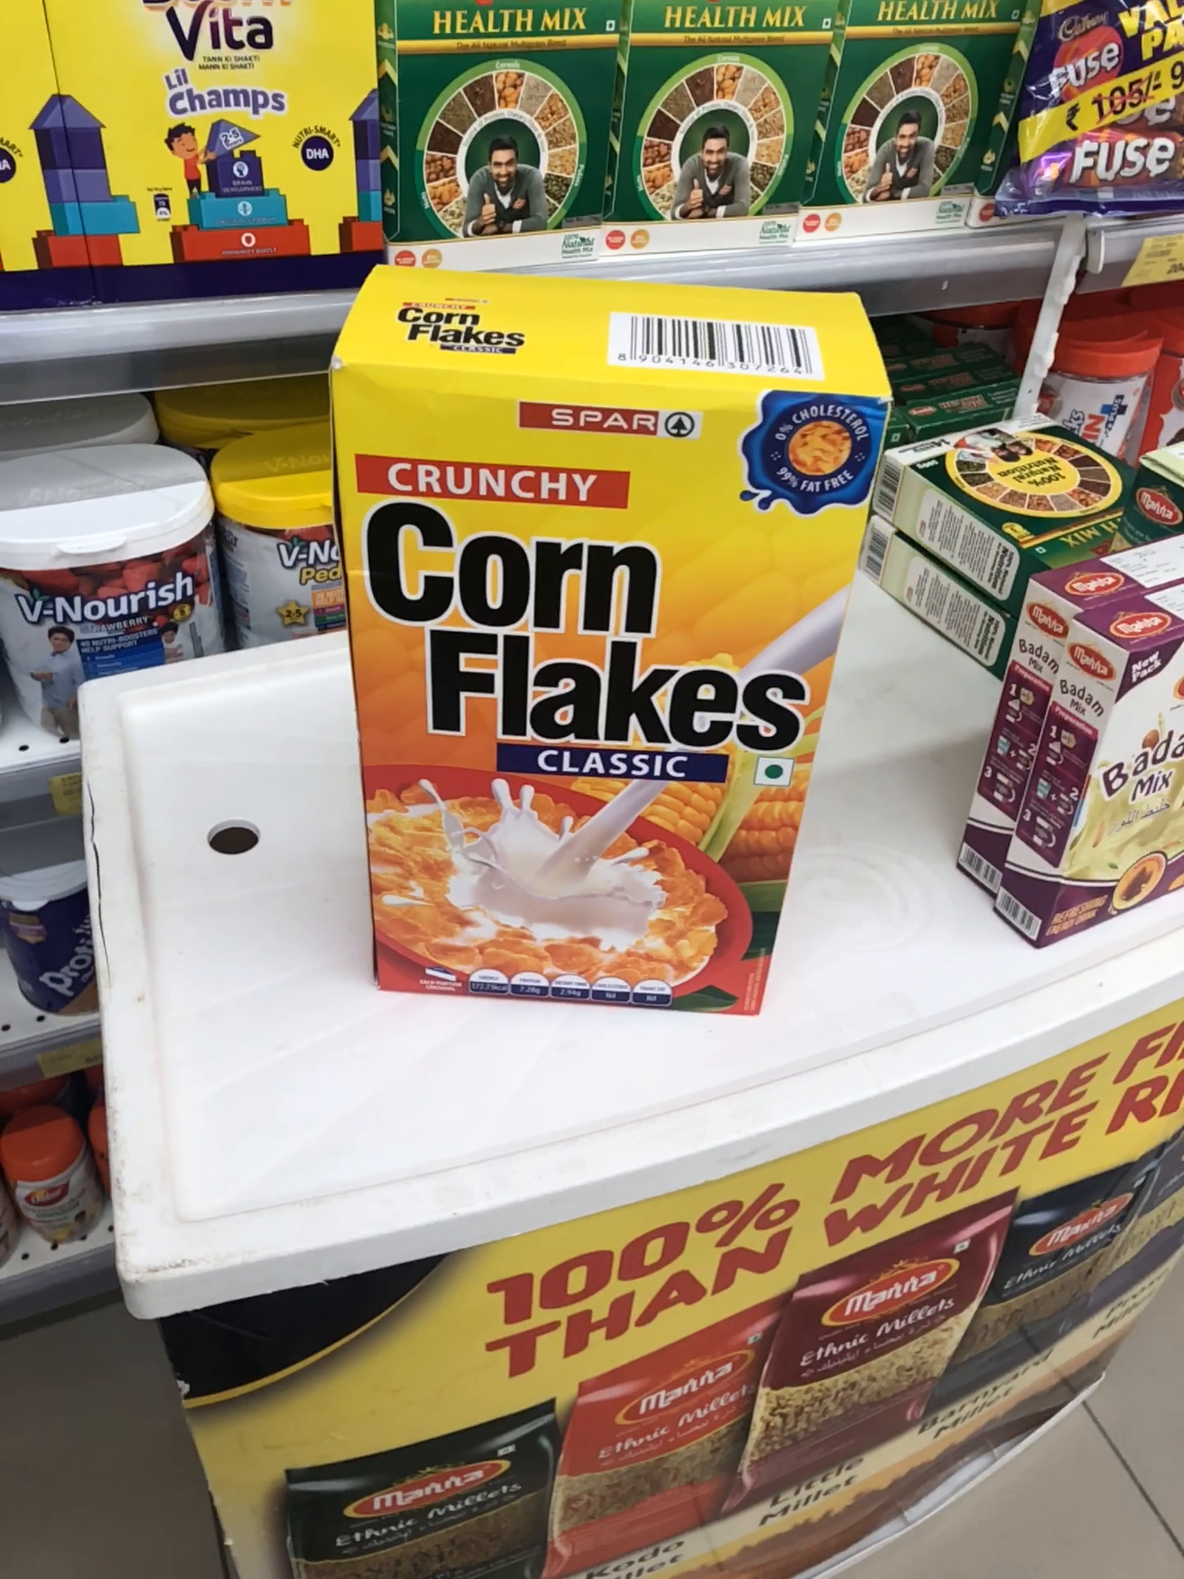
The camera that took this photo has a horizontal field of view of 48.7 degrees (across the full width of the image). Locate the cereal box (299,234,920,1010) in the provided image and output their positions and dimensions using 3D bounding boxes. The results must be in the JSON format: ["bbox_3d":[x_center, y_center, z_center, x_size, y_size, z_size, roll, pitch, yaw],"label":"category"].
[{"bbox_3d":[-0.001,-0.050,0.559,0.200,0.319,0.090,4,41,0],"label":"cereal box"}]
